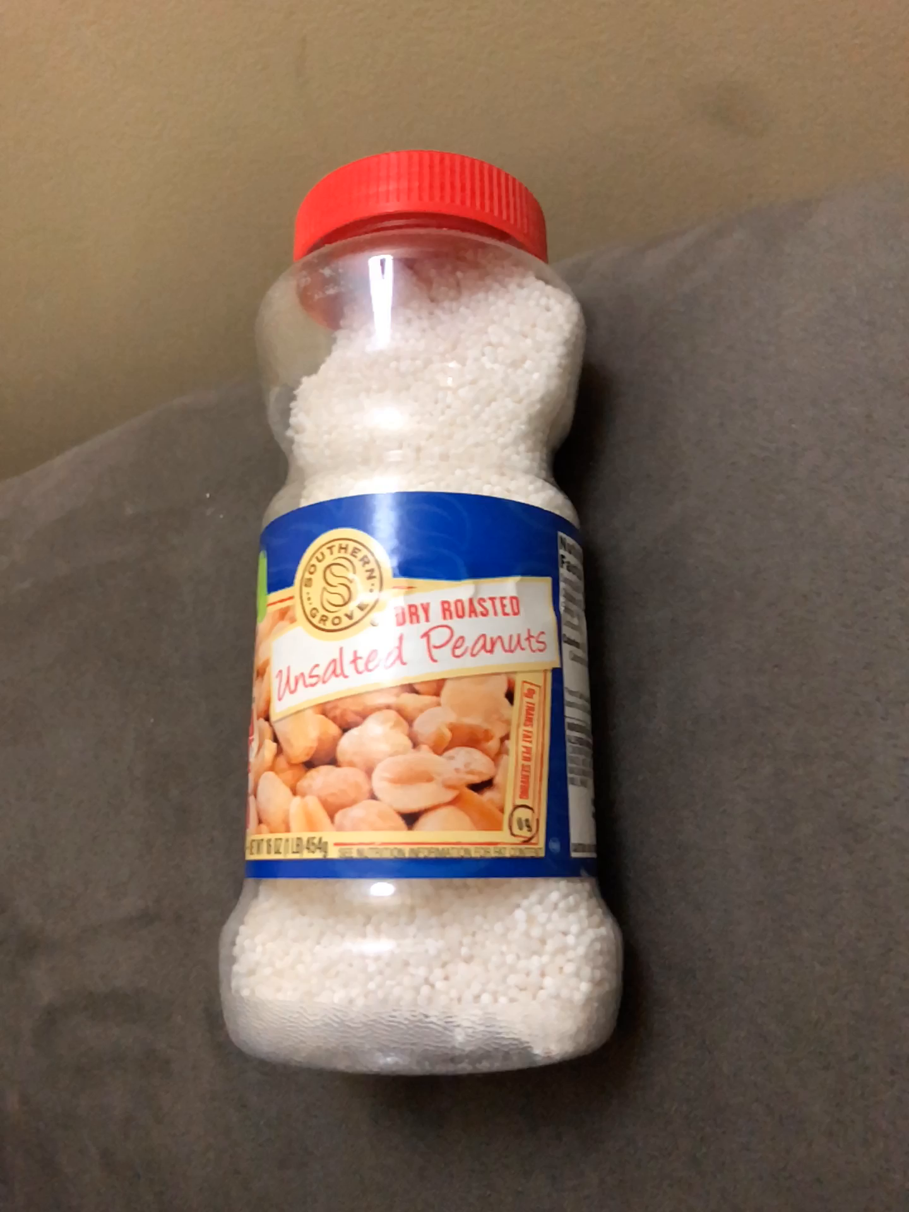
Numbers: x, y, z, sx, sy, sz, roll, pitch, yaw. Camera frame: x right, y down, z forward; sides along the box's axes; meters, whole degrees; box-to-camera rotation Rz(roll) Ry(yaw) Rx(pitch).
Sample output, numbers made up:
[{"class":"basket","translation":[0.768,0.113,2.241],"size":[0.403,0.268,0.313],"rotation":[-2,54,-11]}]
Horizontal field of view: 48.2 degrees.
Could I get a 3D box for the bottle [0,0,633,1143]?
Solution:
[{"class":"bottle","translation":[-0.023,-0.013,0.235],"size":[0.096,0.090,0.220],"rotation":[-9,71,34]}]
